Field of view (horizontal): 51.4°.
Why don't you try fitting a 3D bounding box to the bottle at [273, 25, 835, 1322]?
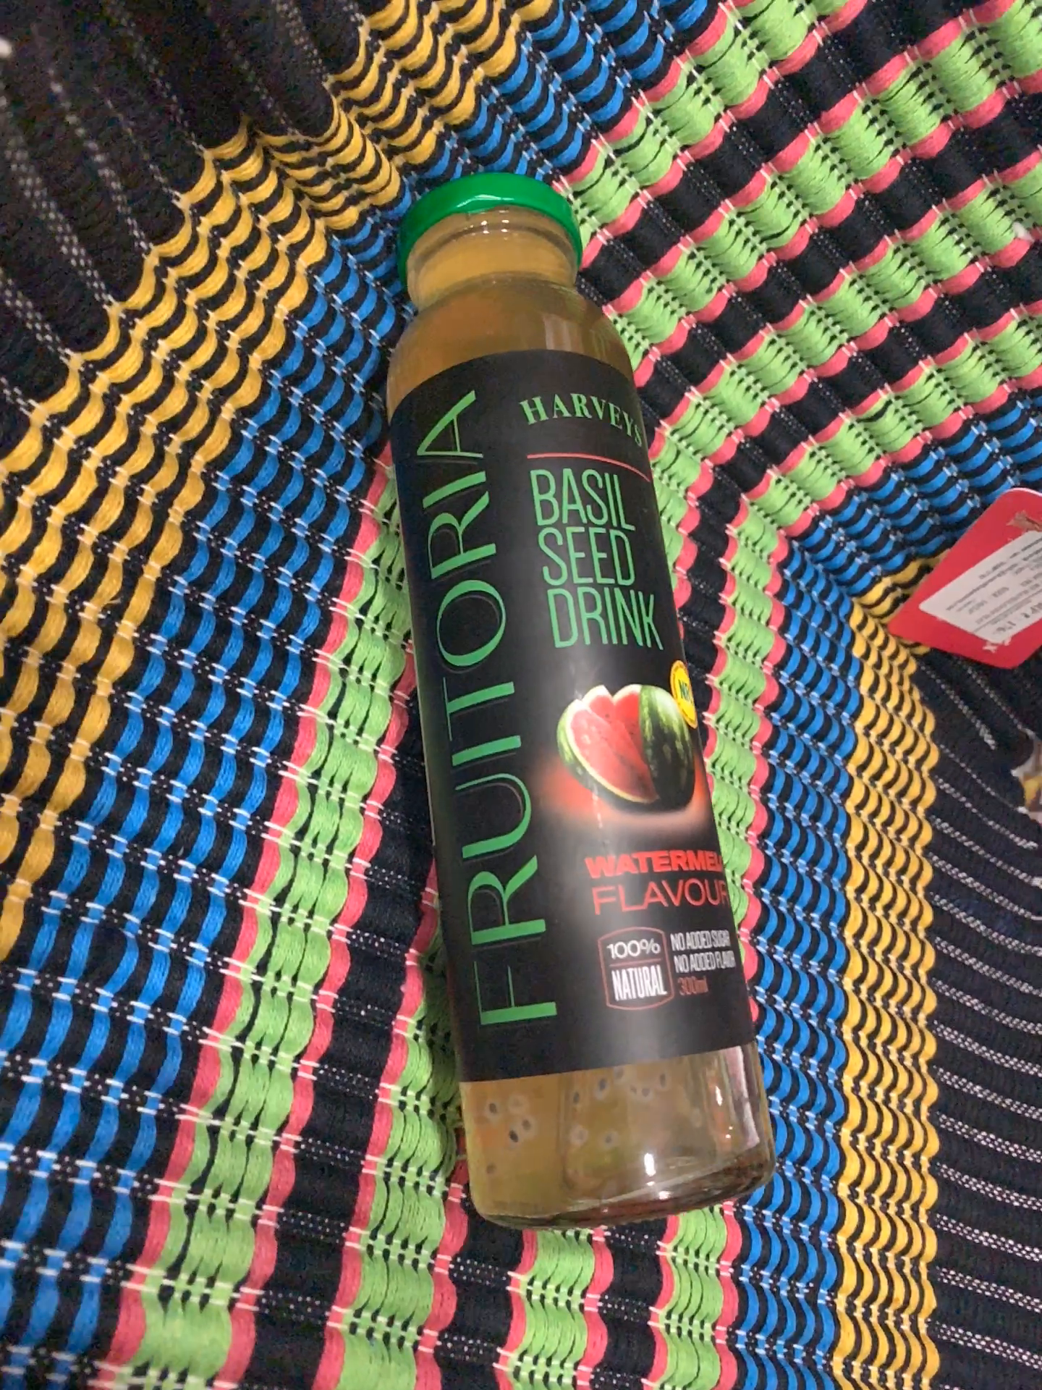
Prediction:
[{"bbox_3d":[-0.005,-0.010,0.197,0.060,0.060,0.200,-1,74,-22],"label":"bottle"}]
